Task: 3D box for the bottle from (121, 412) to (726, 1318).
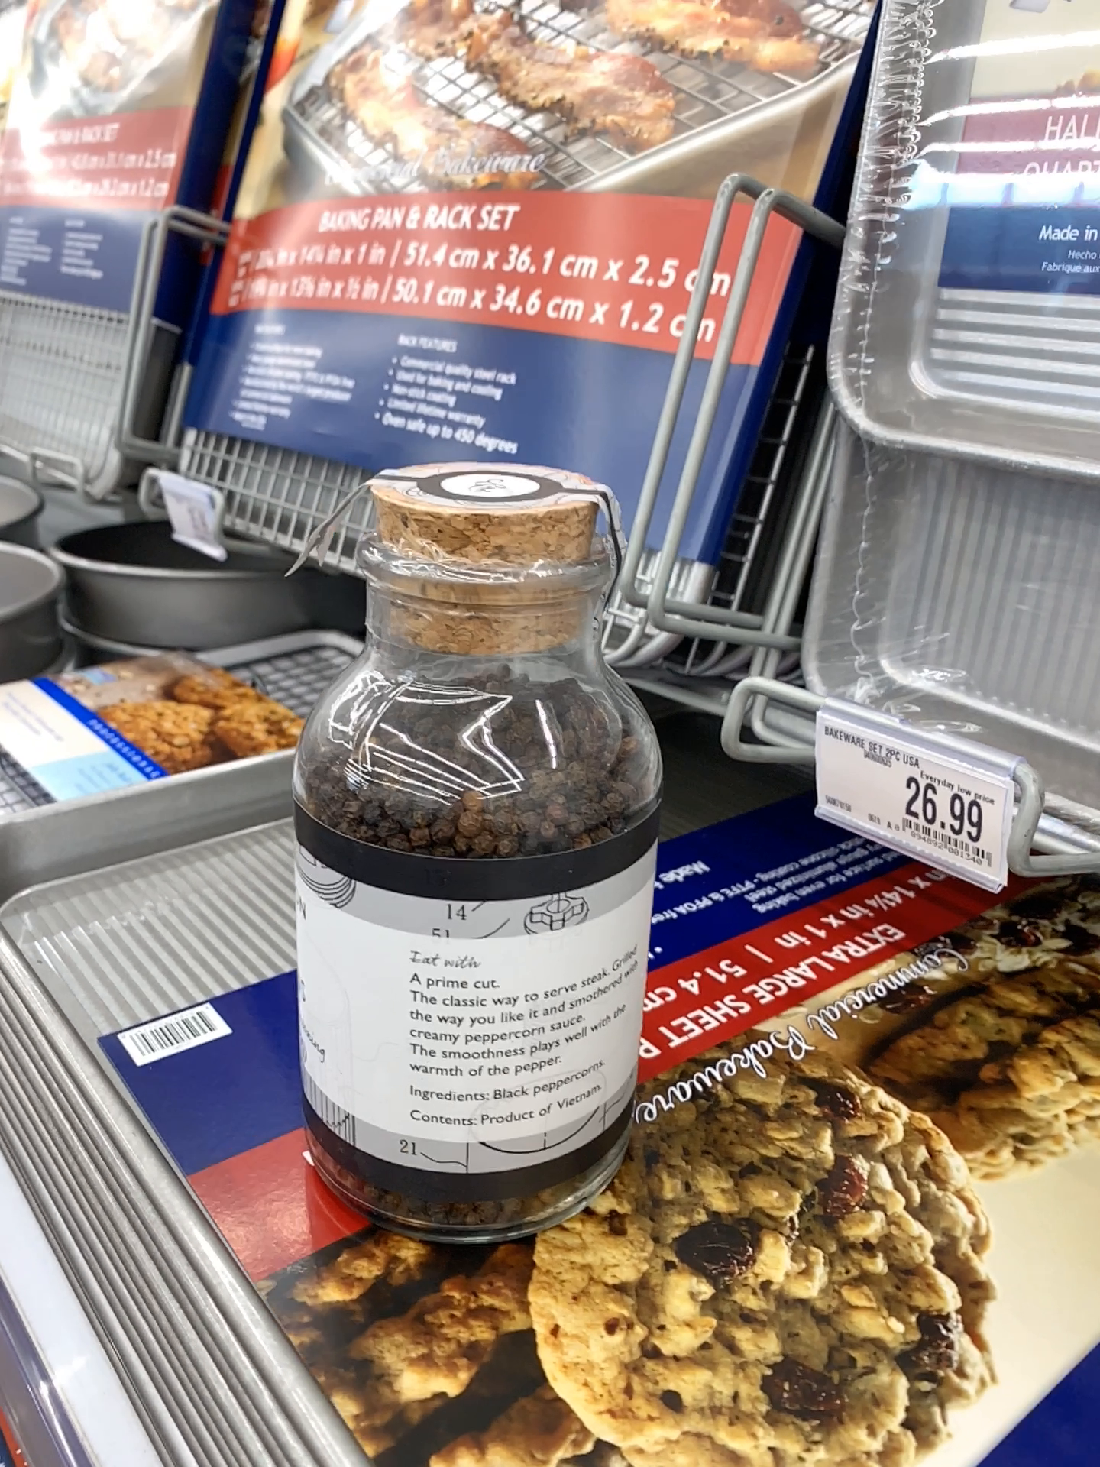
[{"bbox_3d":[-0.020,0.020,0.249,0.090,0.159,0.090,3,21,-1],"label":"bottle"}]
